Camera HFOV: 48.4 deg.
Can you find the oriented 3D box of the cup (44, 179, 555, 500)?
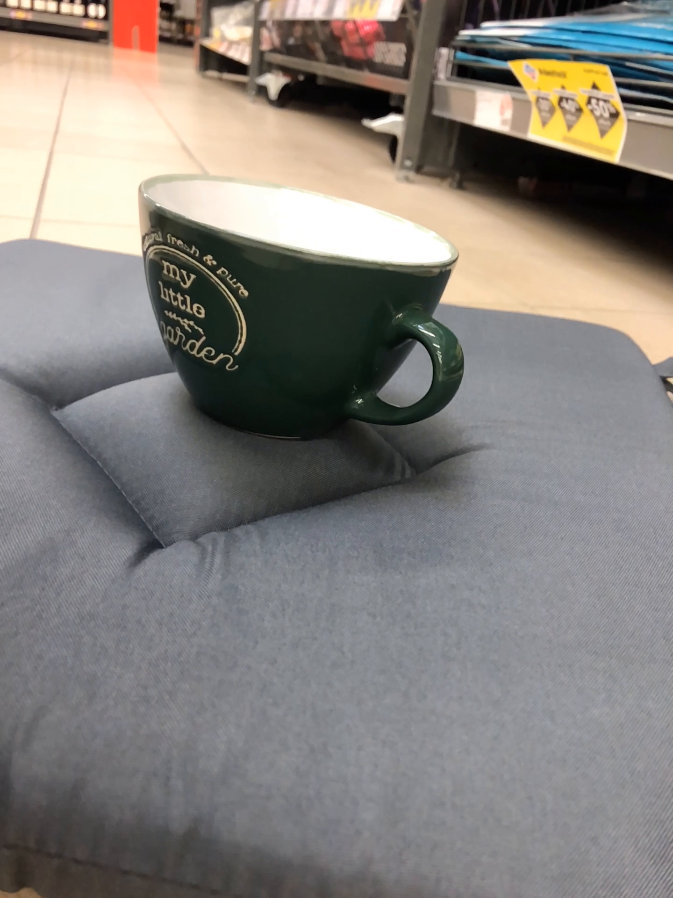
[{"bbox_3d":[-0.015,-0.054,0.271,0.130,0.060,0.121,7,27,-3],"label":"cup"}]
